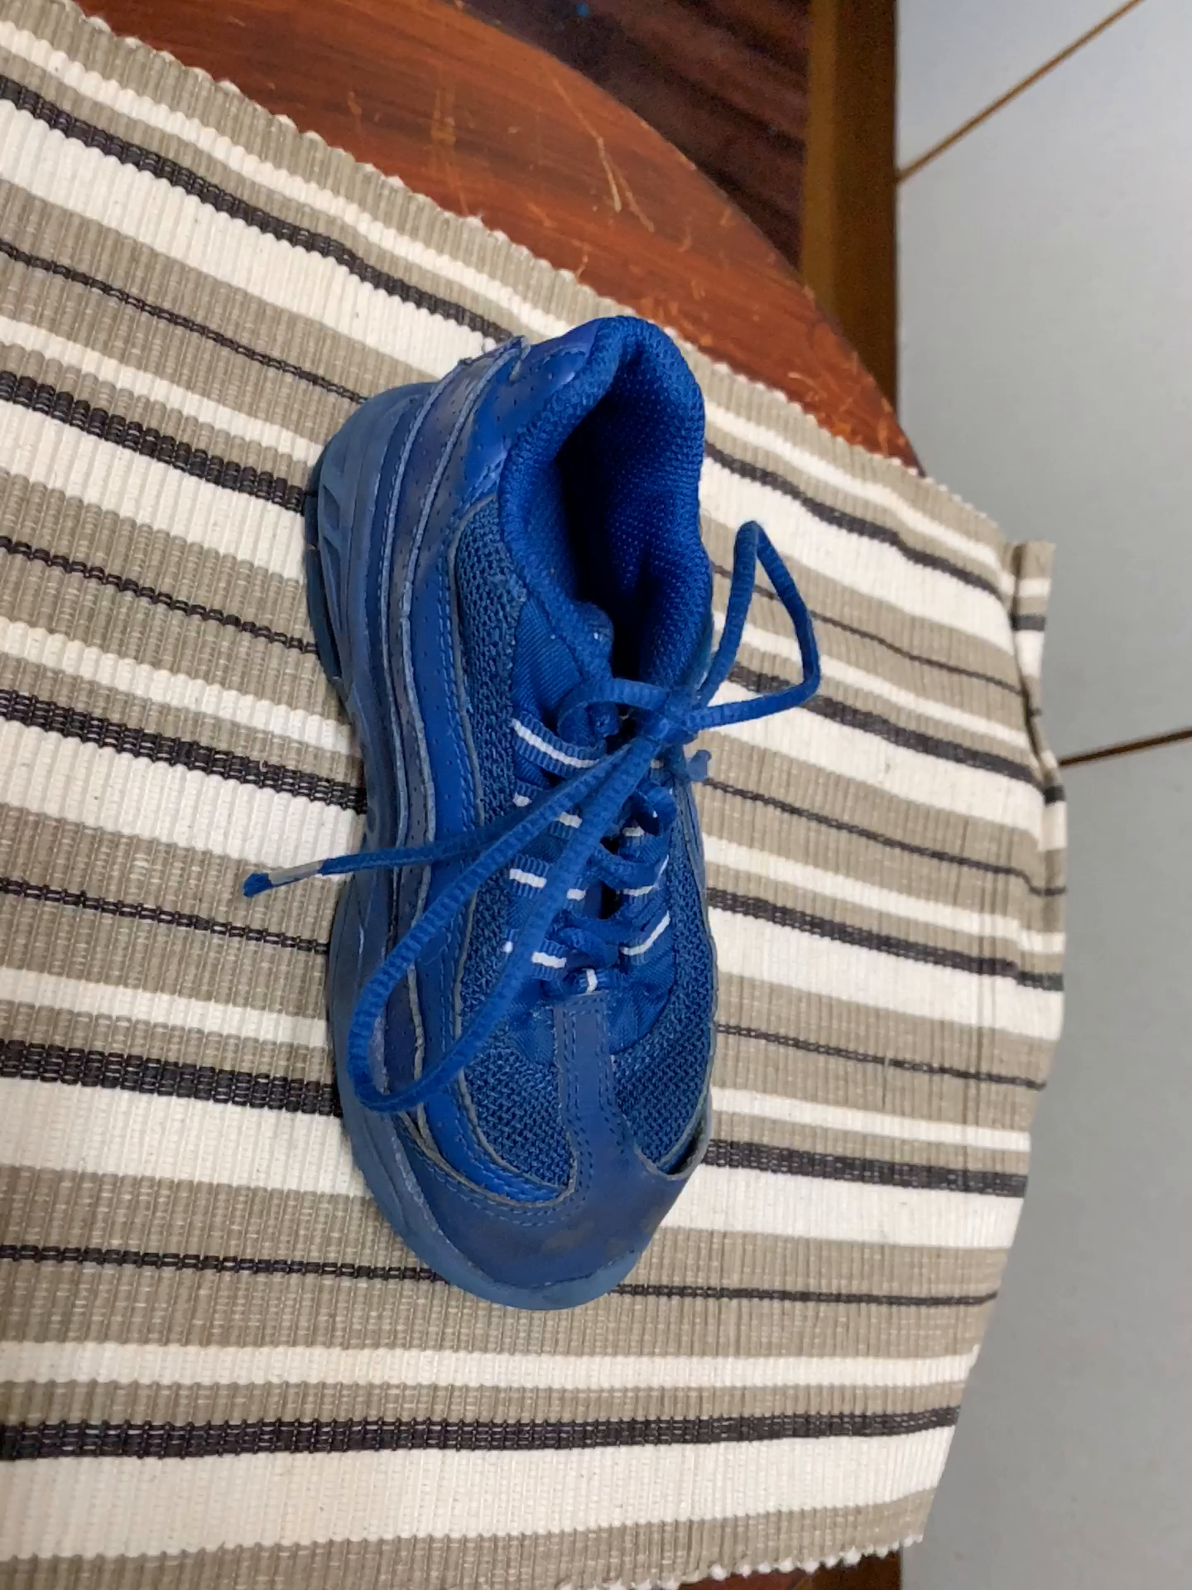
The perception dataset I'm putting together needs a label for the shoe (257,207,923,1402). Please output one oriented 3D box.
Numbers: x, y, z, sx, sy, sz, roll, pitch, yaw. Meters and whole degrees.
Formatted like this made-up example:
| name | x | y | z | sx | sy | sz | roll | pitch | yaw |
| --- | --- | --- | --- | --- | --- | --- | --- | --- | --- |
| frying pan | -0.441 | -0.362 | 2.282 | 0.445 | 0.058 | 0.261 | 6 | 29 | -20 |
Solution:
| name | x | y | z | sx | sy | sz | roll | pitch | yaw |
| --- | --- | --- | --- | --- | --- | --- | --- | --- | --- |
| shoe | -0.007 | 0.002 | 0.232 | 0.073 | 0.079 | 0.175 | -2 | 81 | -35 |
